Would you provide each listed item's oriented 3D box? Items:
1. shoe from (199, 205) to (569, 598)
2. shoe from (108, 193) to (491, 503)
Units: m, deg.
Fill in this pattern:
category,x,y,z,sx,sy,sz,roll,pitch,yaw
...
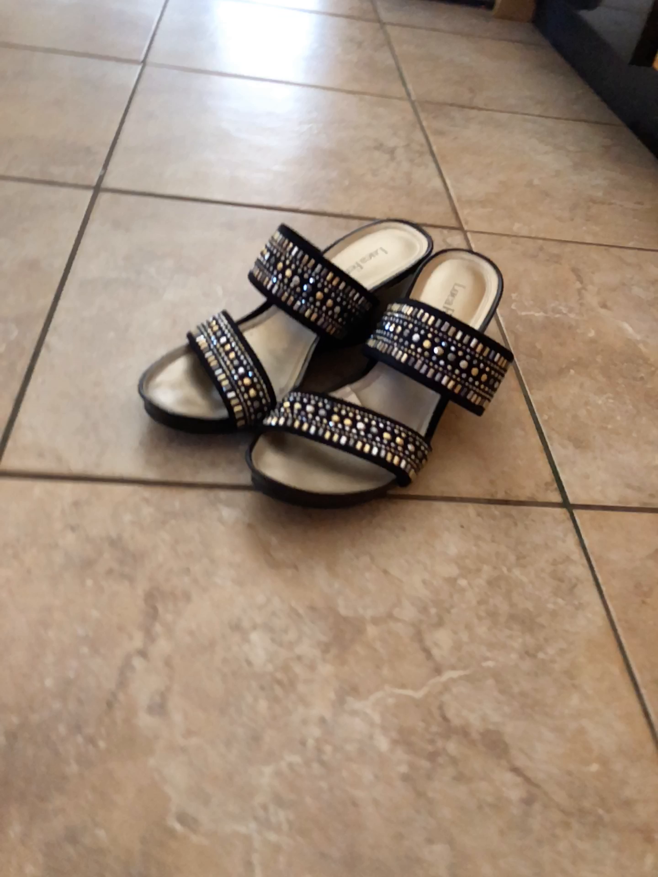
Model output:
category,x,y,z,sx,sy,sz,roll,pitch,yaw
shoe,0.038,-0.037,0.428,0.110,0.100,0.221,29,46,18
shoe,-0.014,-0.068,0.458,0.221,0.100,0.090,-27,55,-33
